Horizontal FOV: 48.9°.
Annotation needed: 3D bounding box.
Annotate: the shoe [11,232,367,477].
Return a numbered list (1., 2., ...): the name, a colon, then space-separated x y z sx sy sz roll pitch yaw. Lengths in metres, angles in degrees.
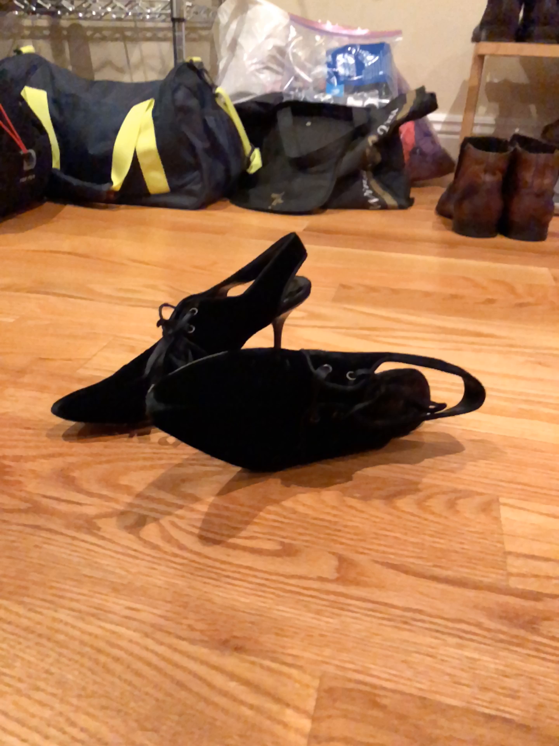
1. shoe: -0.065 -0.031 0.503 0.253 0.117 0.108 -16 32 -31

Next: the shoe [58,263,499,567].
1. shoe: 0.002 0.008 0.409 0.252 0.107 0.118 -13 29 -27
